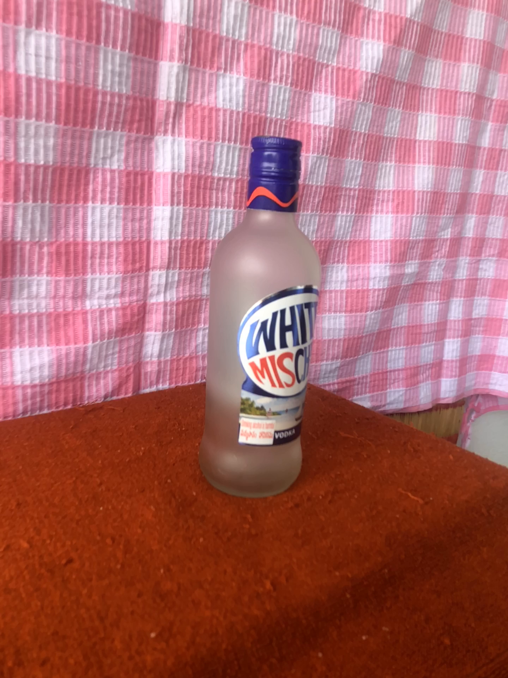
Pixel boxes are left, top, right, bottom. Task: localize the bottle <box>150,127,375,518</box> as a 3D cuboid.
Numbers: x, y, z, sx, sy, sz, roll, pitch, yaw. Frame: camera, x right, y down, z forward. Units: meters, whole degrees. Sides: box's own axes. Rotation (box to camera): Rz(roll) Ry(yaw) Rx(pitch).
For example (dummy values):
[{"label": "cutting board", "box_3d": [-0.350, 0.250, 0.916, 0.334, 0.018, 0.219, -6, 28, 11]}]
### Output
[{"label": "bottle", "box_3d": [0.000, -0.012, 0.327, 0.080, 0.199, 0.070, -5, 20, -40]}]
